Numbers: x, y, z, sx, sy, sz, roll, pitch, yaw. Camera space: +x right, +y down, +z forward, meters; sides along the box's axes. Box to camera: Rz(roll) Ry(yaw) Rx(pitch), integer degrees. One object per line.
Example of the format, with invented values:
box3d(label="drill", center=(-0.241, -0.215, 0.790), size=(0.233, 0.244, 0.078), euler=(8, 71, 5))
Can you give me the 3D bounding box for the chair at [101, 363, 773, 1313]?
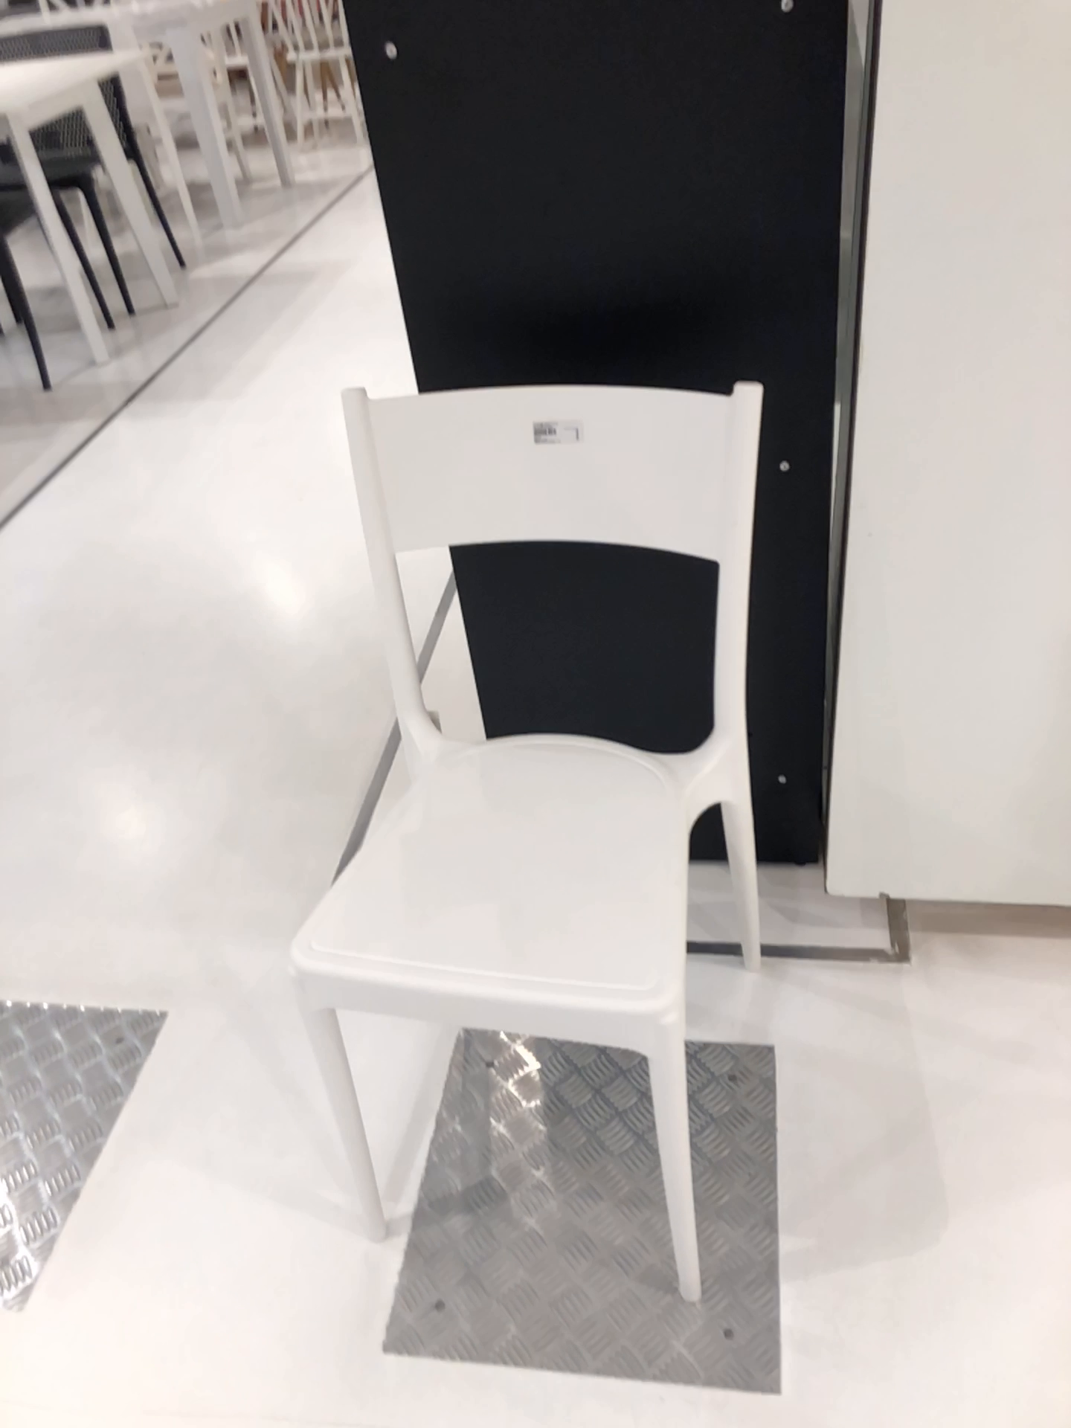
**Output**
box3d(label="chair", center=(0.003, 0.124, 1.150), size=(0.410, 0.765, 0.483), euler=(3, 38, 14))
